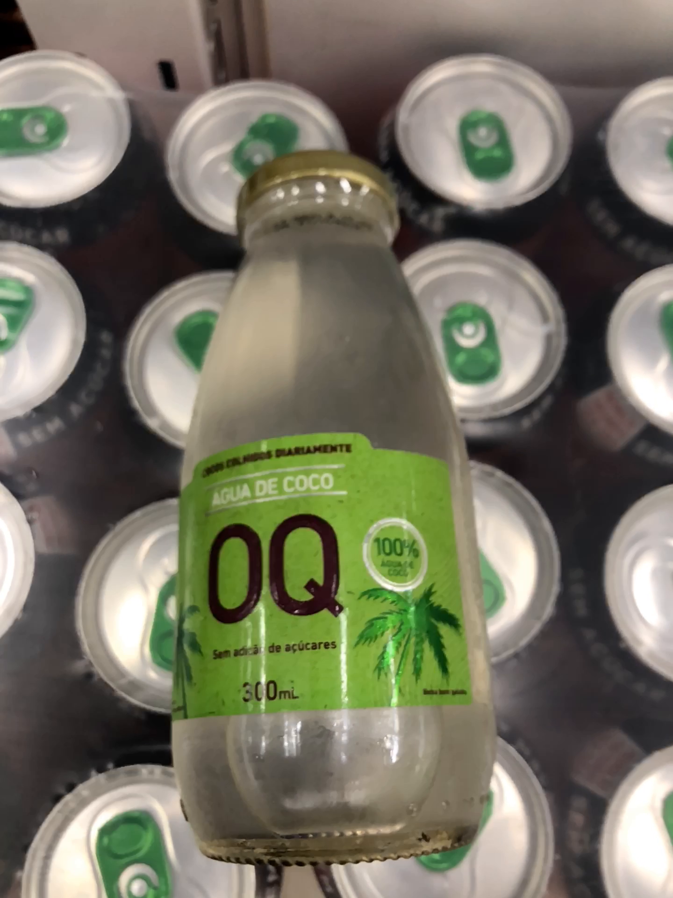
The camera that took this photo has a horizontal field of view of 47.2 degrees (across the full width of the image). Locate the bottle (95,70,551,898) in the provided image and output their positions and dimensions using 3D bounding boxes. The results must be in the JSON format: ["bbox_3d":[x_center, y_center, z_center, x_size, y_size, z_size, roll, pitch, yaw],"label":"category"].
[{"bbox_3d":[0.001,0.007,0.169,0.070,0.060,0.150,-7,70,16],"label":"bottle"}]
